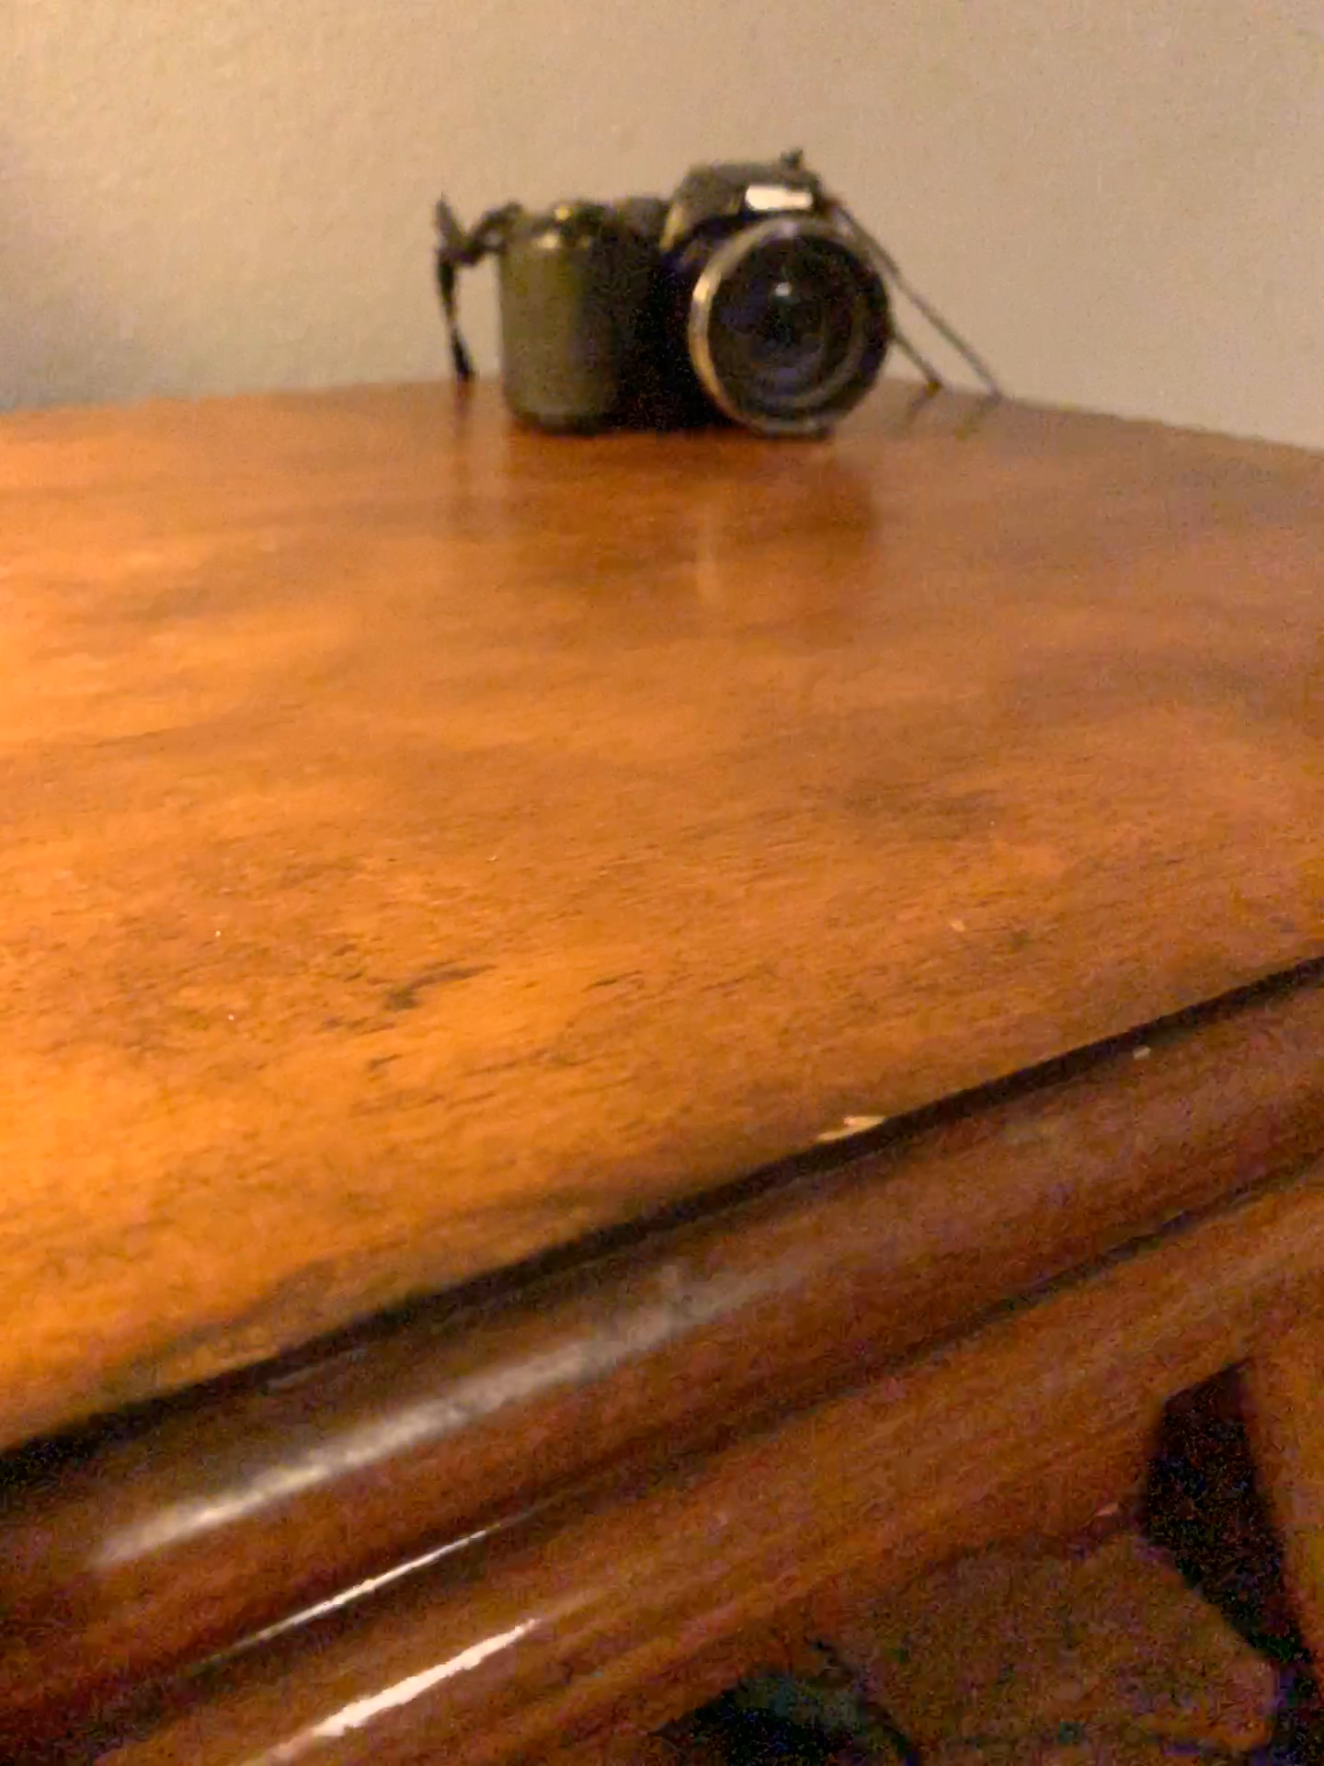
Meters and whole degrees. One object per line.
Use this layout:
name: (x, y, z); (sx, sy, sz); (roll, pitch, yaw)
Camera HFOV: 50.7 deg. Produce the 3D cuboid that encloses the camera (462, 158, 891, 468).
camera: (-0.001, -0.192, 0.465); (0.110, 0.081, 0.123); (-7, 26, -12)
